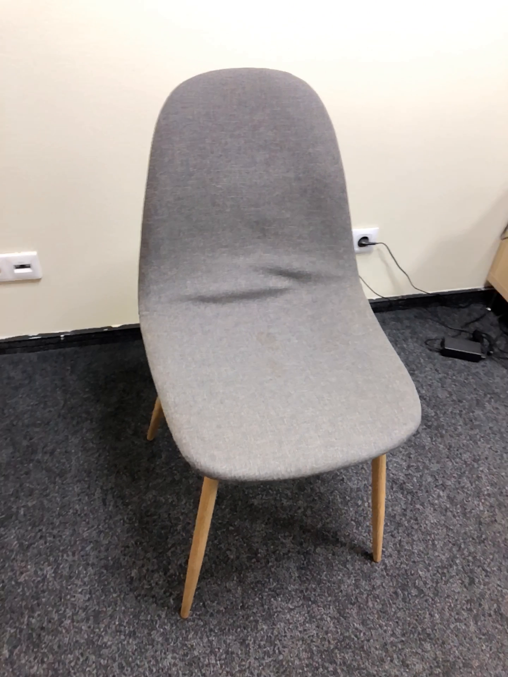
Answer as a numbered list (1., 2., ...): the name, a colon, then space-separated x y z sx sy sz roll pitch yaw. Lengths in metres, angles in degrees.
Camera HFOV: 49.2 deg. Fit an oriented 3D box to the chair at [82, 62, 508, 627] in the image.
1. chair: 0.004 0.007 1.030 0.471 0.785 0.603 -9 44 -14
